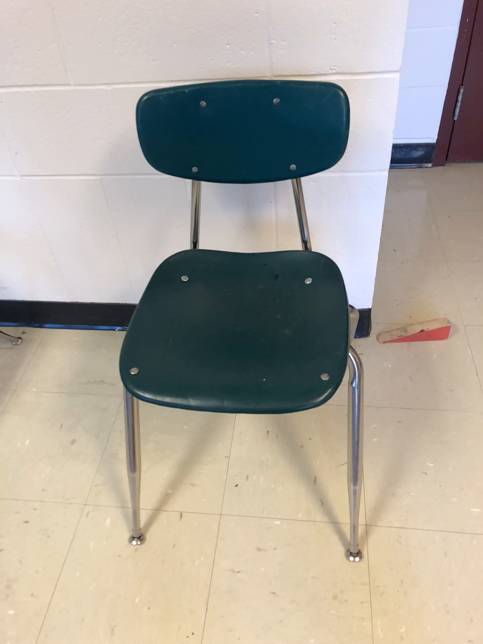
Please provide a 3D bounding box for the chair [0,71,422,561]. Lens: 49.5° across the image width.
[{"bbox_3d":[0.007,-0.004,1.013,0.480,0.695,0.594,1,43,8],"label":"chair"}]
